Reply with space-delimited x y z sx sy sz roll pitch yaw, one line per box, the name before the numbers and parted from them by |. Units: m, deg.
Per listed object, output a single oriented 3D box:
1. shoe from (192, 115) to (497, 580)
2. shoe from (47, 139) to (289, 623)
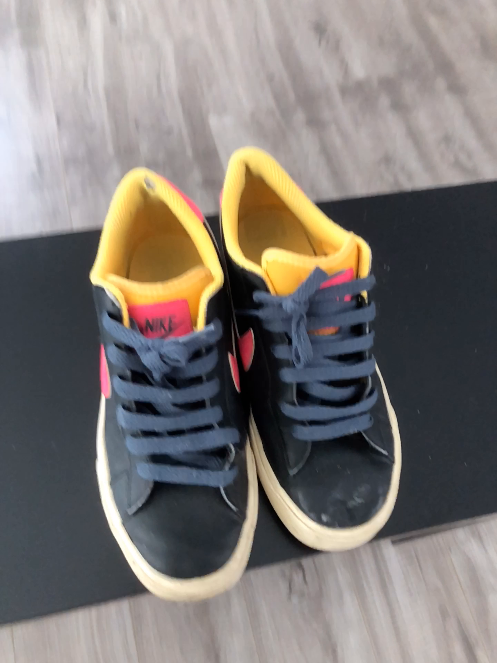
shoe | 0.039 0.004 0.328 0.090 0.100 0.245 -12 65 -7
shoe | -0.049 0.021 0.316 0.095 0.100 0.245 -7 64 -5
